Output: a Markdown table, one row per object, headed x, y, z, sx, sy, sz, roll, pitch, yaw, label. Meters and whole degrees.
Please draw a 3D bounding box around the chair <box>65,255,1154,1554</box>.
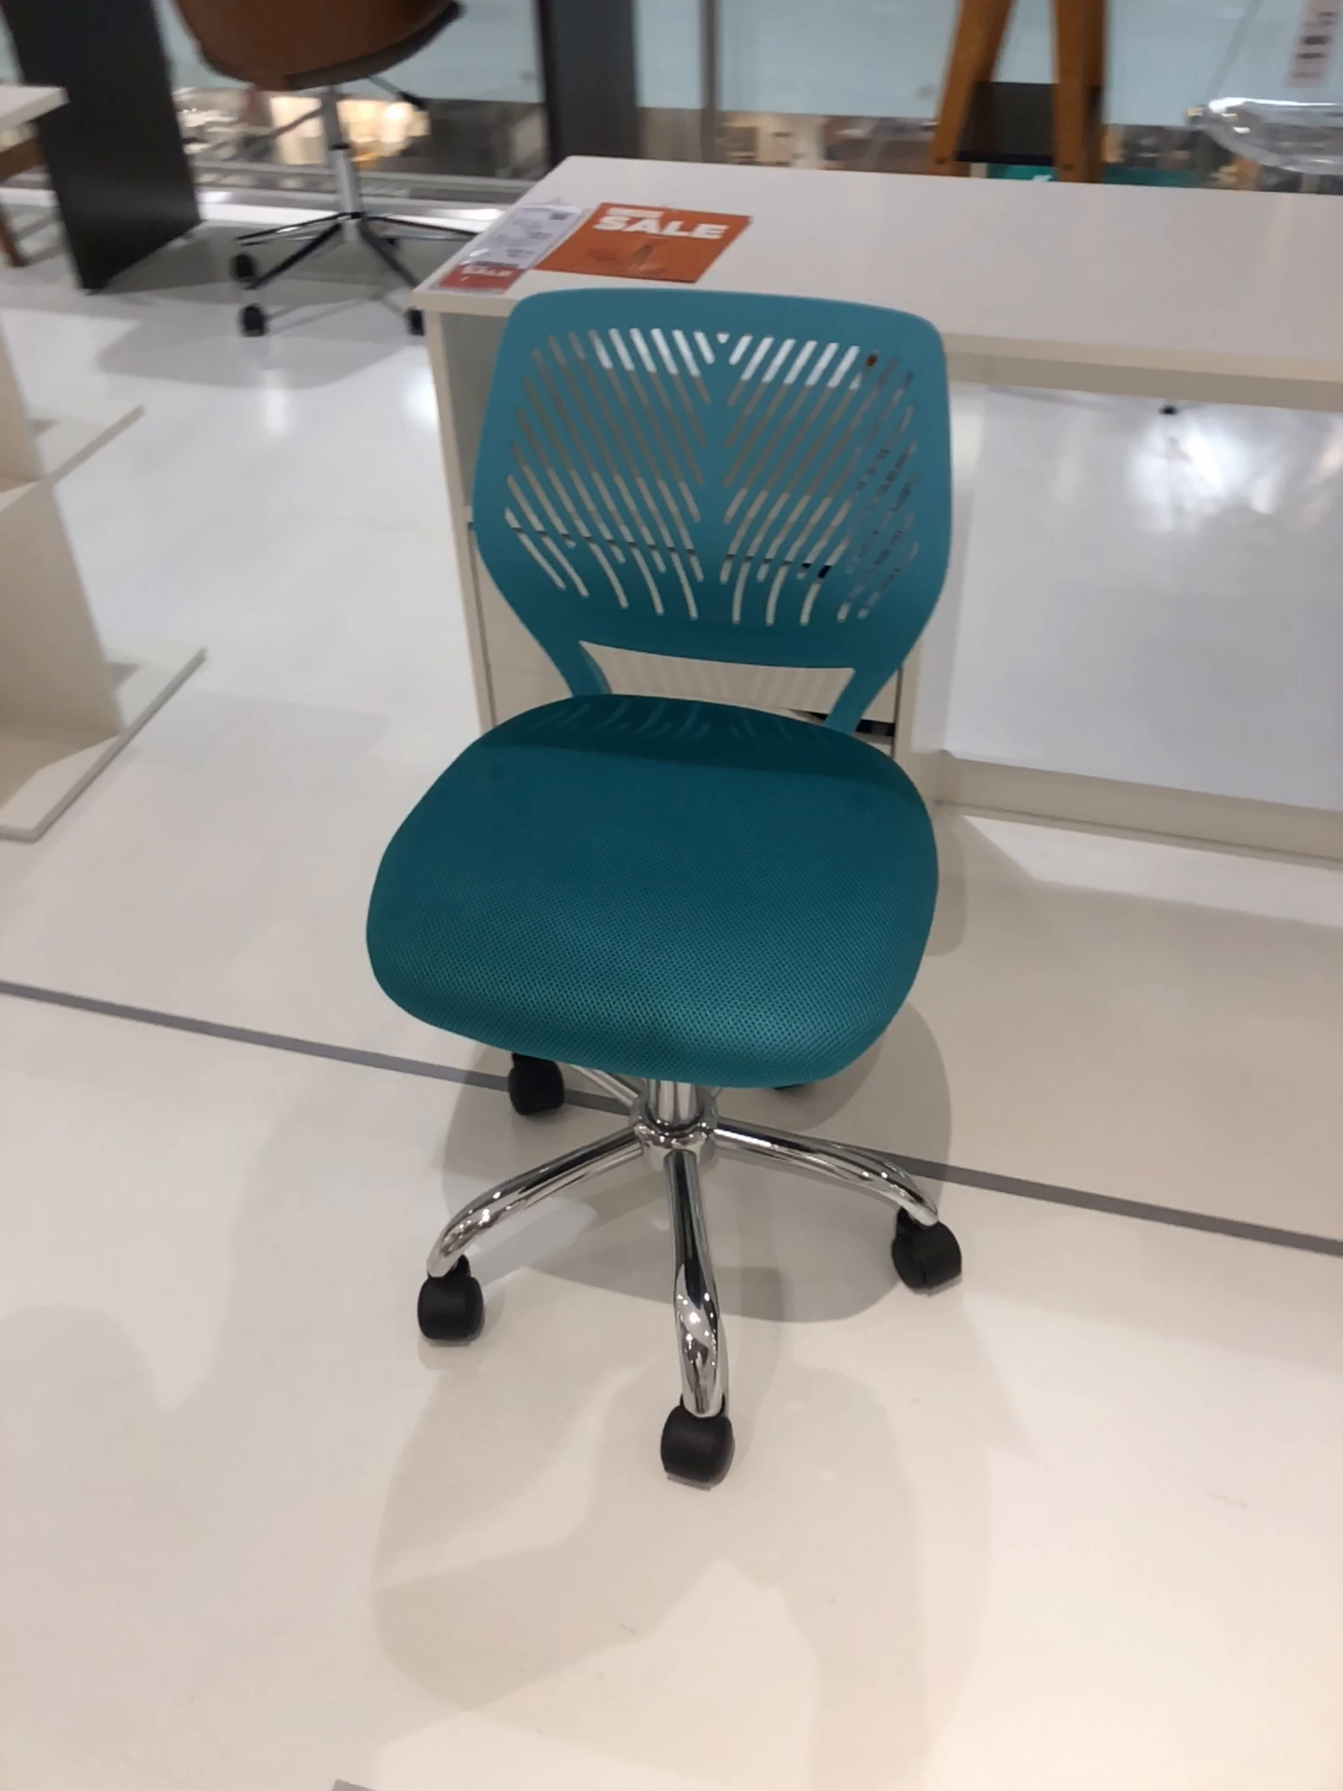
| x | y | z | sx | sy | sz | roll | pitch | yaw | label |
| --- | --- | --- | --- | --- | --- | --- | --- | --- | --- |
| 0.022 | 0.002 | 1.067 | 0.500 | 0.724 | 0.504 | 8 | 40 | 12 | chair |
